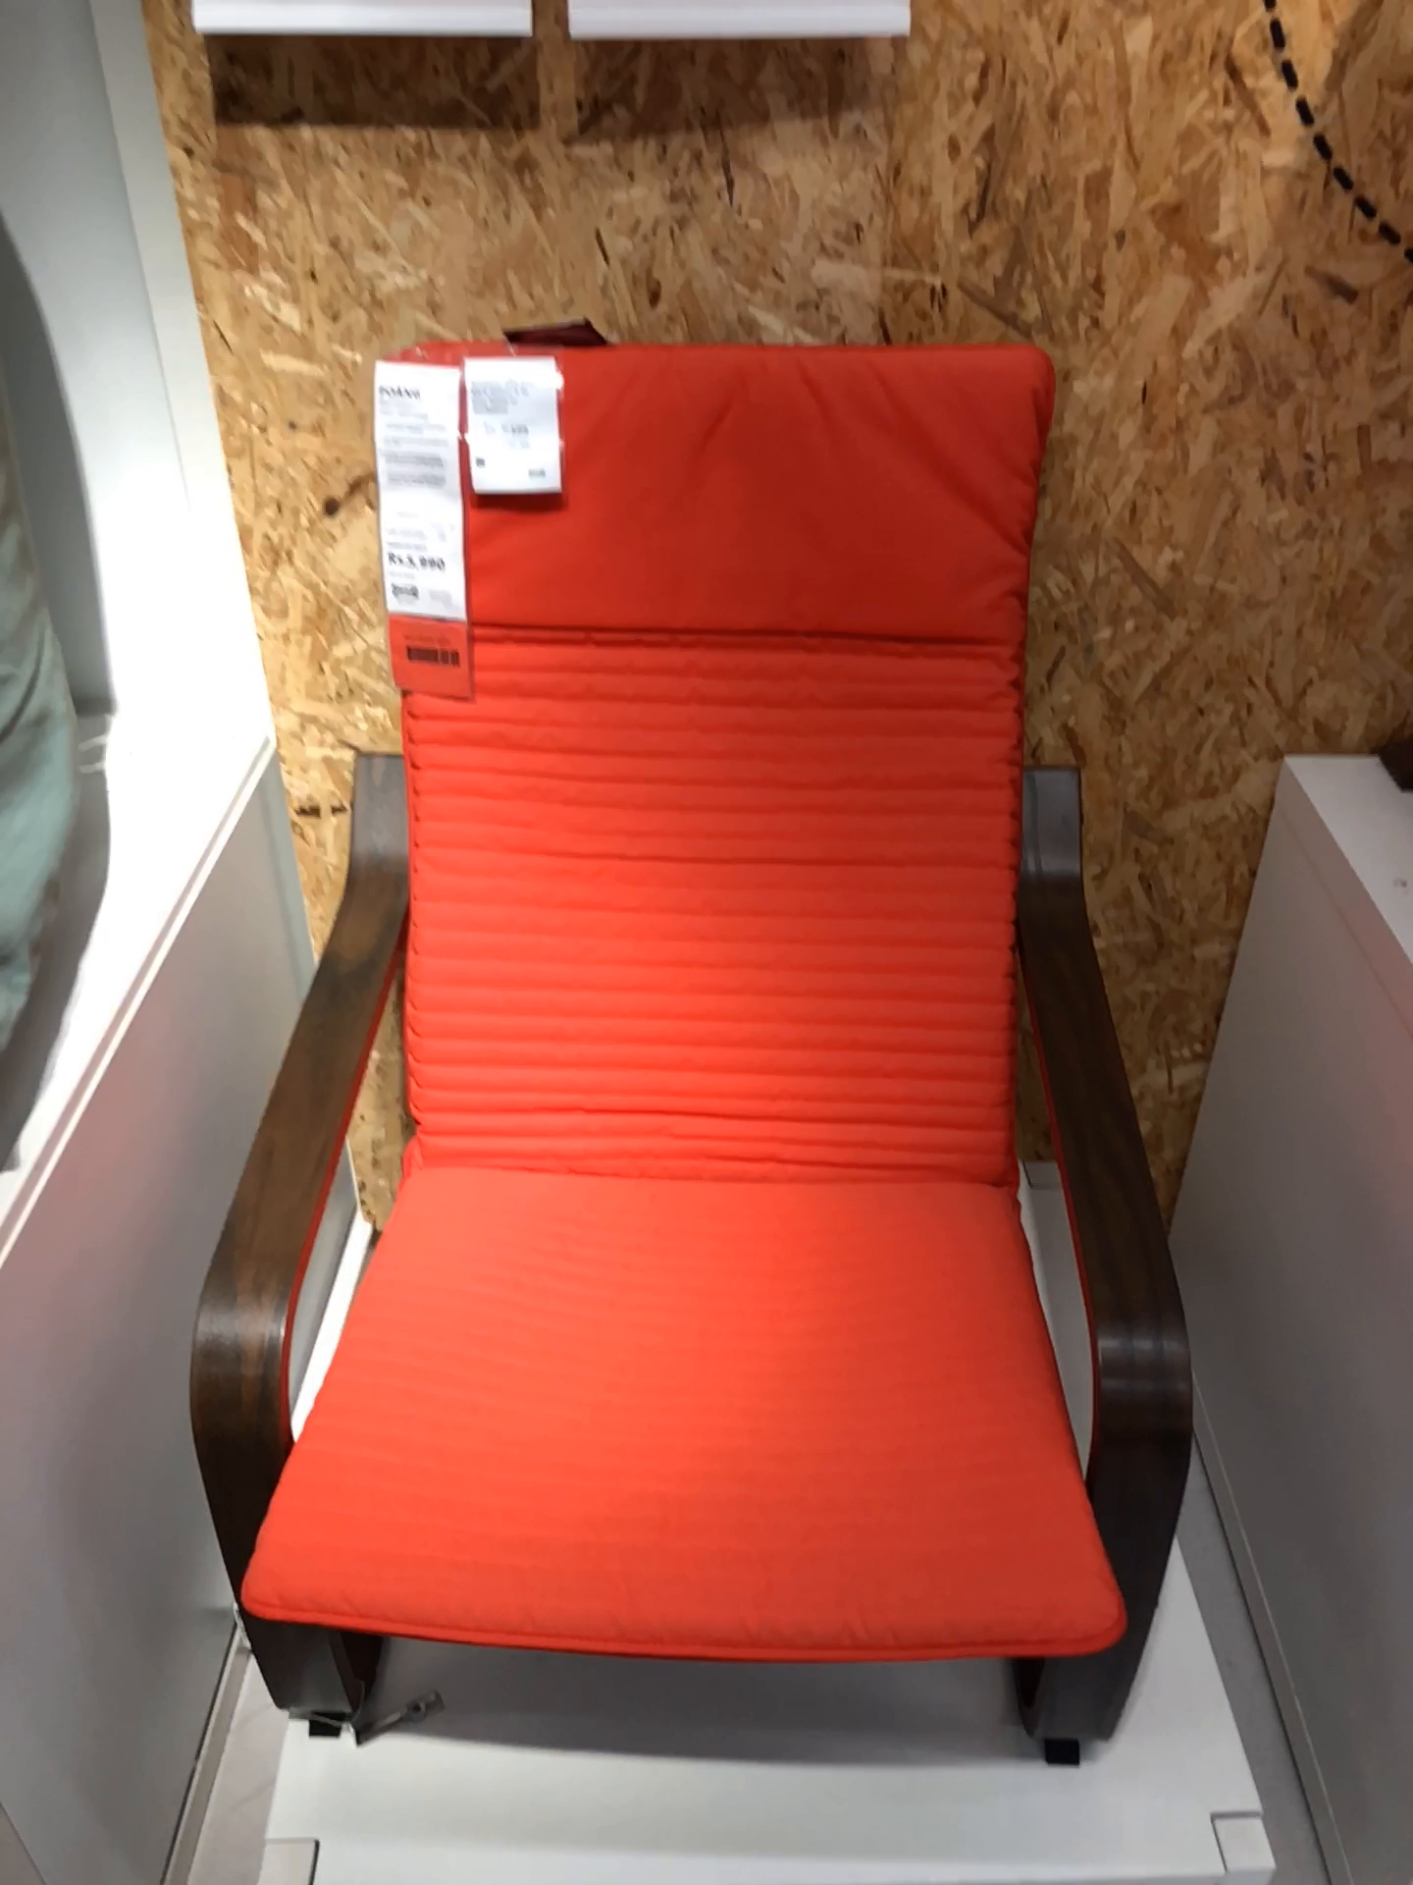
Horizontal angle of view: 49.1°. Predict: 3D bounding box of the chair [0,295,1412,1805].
[{"bbox_3d":[-0.008,0.049,1.242,0.750,0.893,0.796,1,35,1],"label":"chair"}]
